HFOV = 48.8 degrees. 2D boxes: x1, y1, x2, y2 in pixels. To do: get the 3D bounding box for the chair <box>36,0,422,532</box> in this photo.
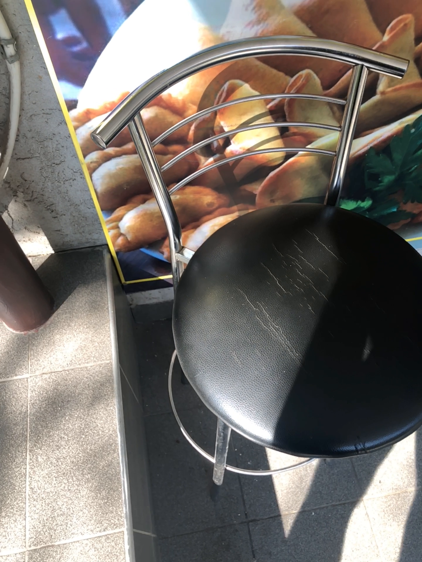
[{"bbox_3d":[0.117,0.131,1.000,0.510,1.098,0.501,-22,61,-12],"label":"chair"}]
